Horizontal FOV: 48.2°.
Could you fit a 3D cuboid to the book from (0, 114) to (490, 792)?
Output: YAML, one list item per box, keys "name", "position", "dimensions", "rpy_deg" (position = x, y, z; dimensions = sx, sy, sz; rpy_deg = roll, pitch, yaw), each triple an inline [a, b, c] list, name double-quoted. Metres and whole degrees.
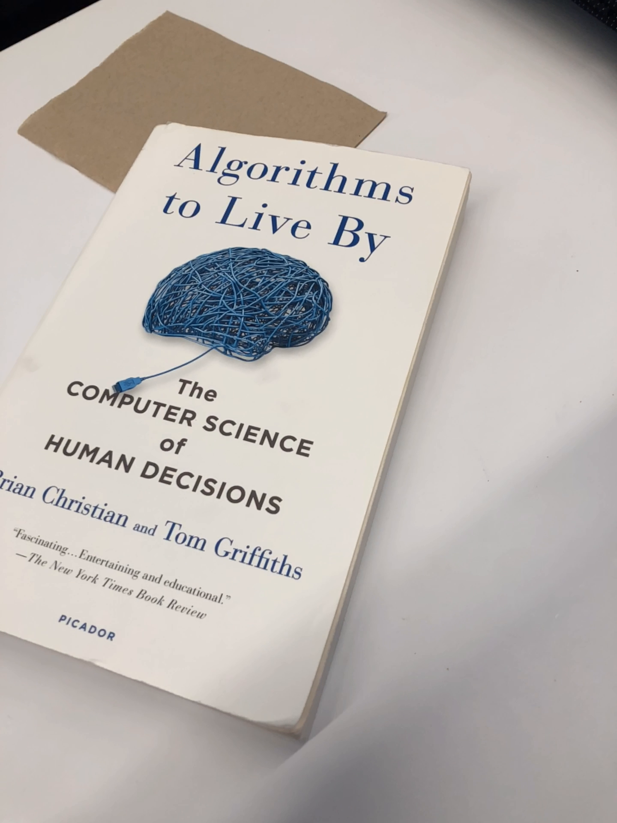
- name: "book"
  position: [-0.038, -0.009, 0.253]
  dimensions: [0.160, 0.040, 0.220]
  rpy_deg: [13, 64, 14]
